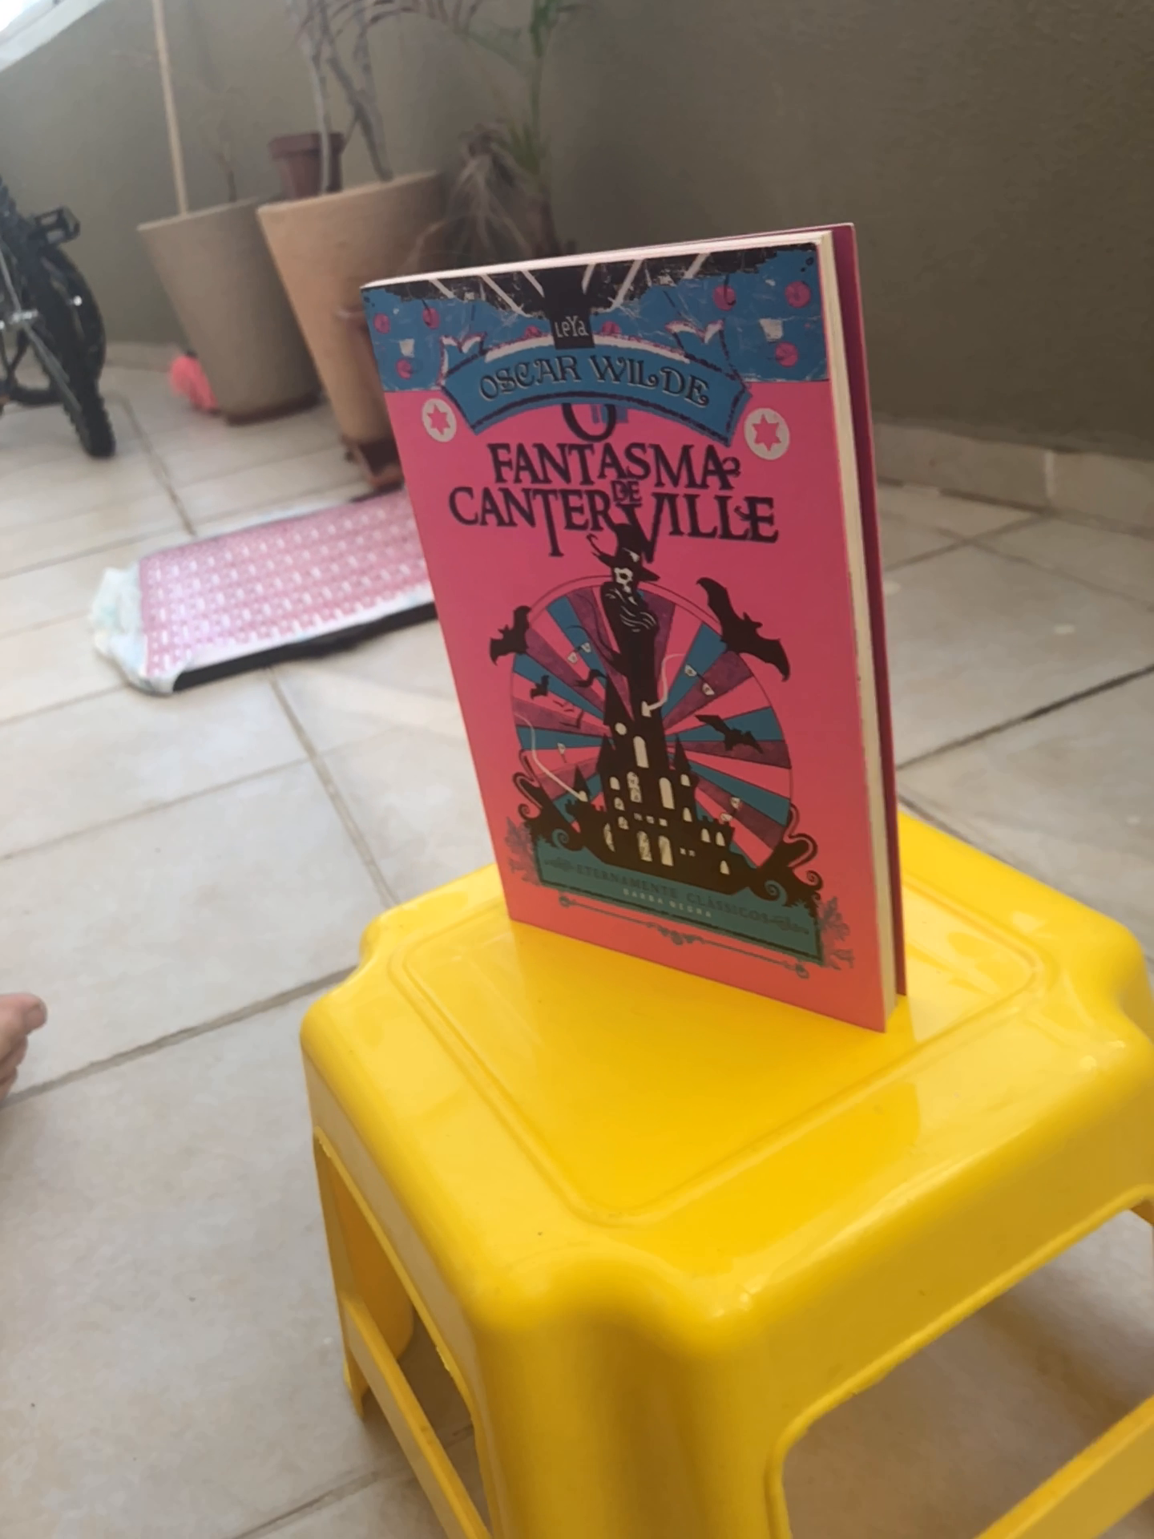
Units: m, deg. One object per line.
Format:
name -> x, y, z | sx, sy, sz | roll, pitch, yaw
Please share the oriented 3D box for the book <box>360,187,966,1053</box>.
book -> 0.026, -0.033, 0.360 | 0.150, 0.218, 0.020 | 10, 34, 39
